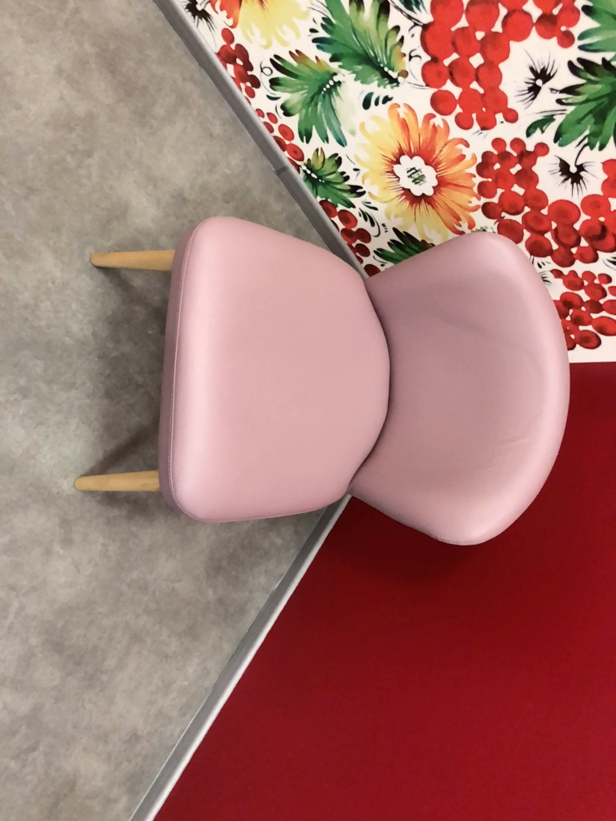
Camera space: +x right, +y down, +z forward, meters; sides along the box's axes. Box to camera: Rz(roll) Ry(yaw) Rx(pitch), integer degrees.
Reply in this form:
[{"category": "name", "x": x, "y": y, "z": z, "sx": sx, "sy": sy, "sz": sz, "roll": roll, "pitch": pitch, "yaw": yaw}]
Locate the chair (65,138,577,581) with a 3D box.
[{"category": "chair", "x": -0.022, "y": -0.052, "z": 1.247, "sx": 0.543, "sy": 0.786, "sz": 0.510, "roll": 4, "pitch": 88, "yaw": -40}]
